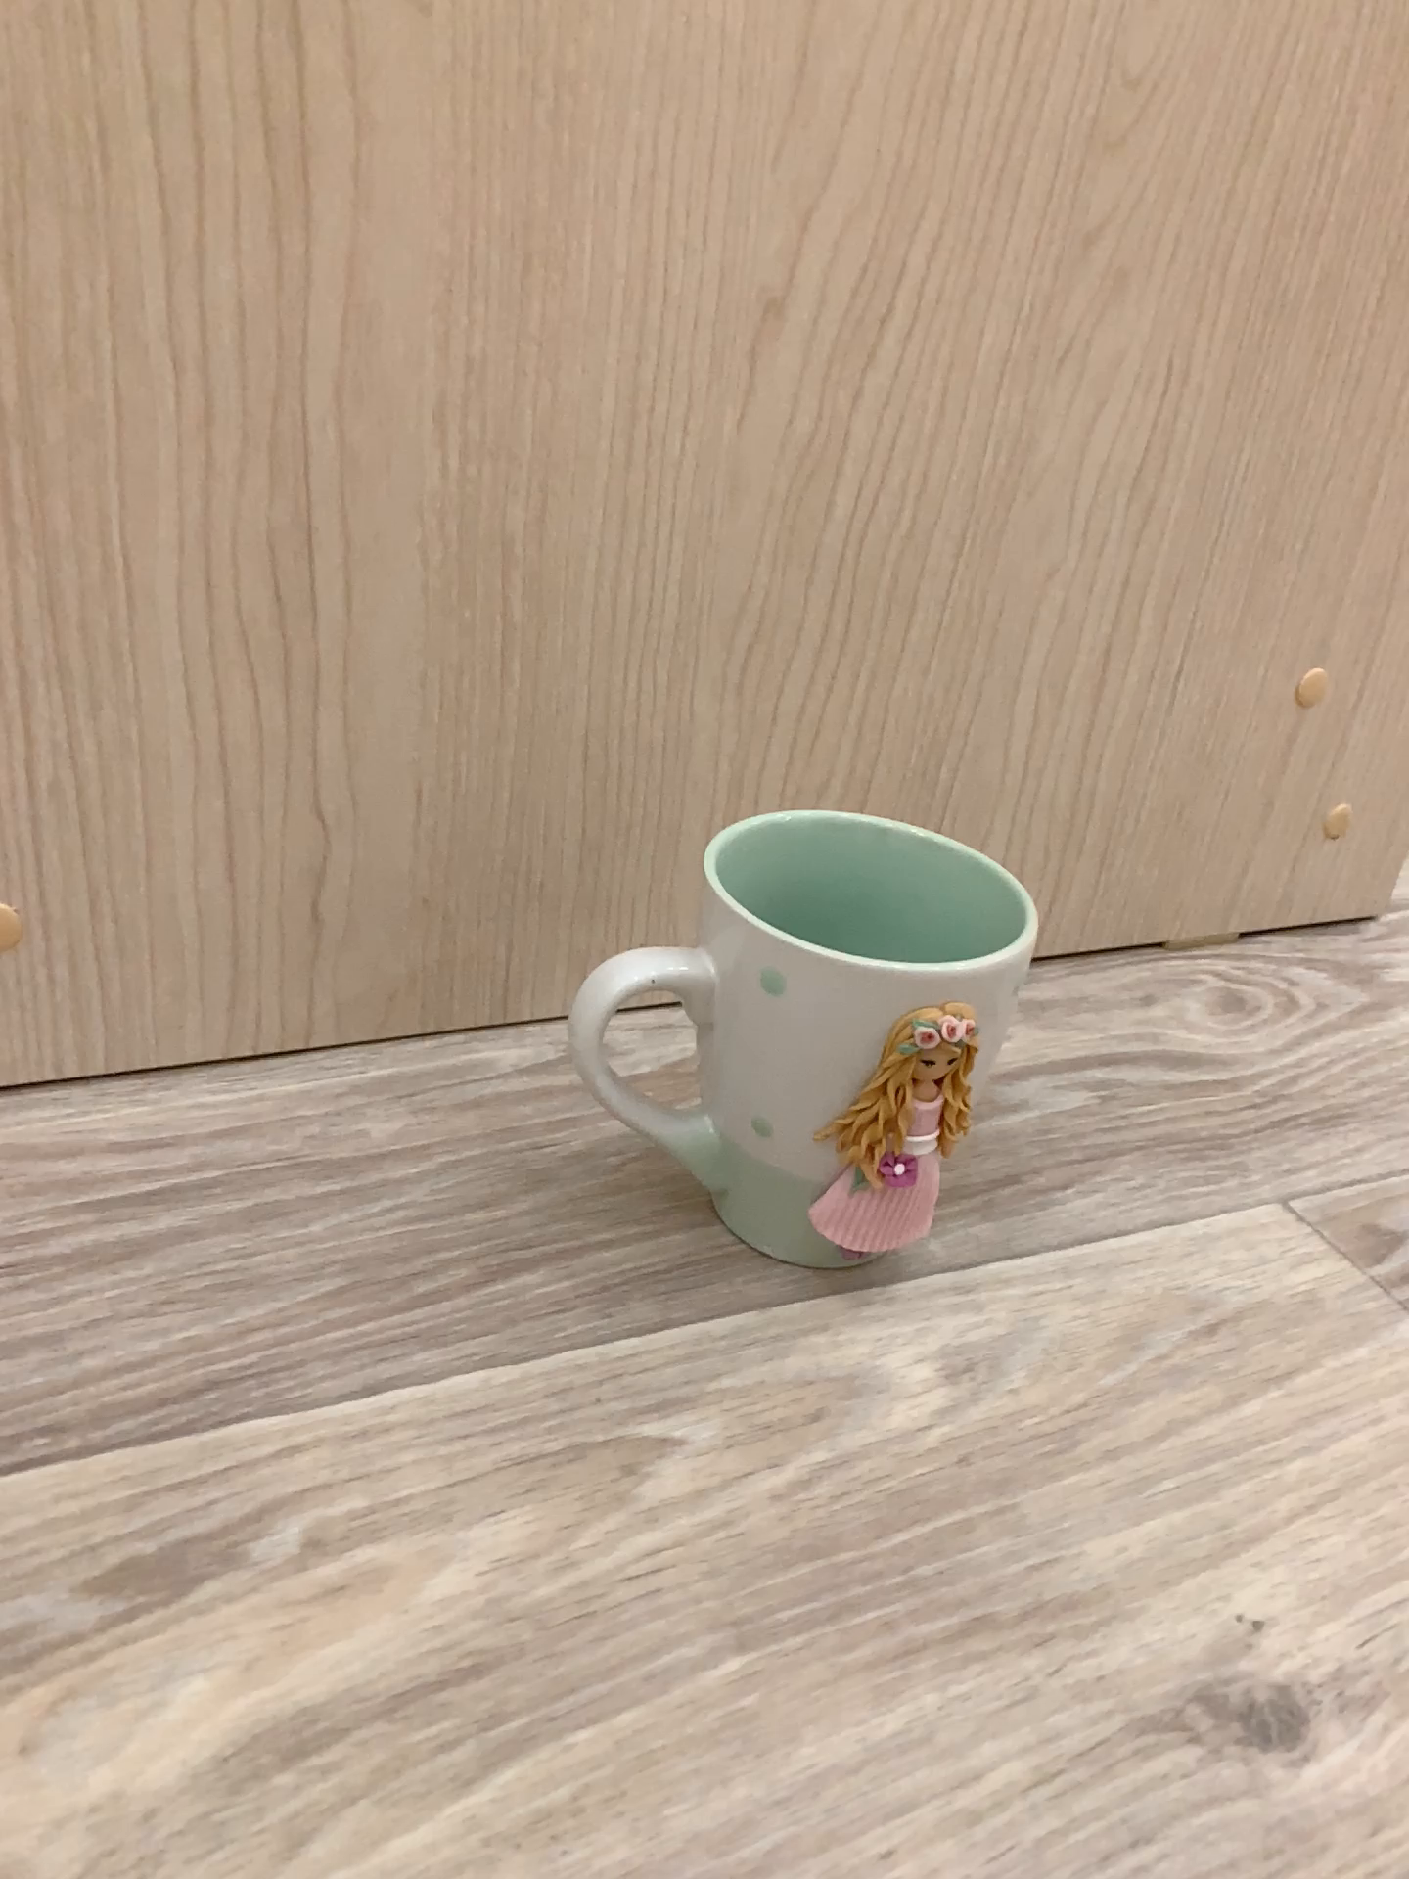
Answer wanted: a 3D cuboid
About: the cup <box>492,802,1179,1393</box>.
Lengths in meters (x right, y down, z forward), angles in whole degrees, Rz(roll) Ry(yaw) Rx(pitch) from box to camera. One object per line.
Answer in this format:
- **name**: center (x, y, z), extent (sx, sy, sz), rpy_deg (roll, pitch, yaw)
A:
- **cup**: center (0.022, 0.027, 0.326), extent (0.112, 0.080, 0.093), rpy_deg (-5, 30, -25)
